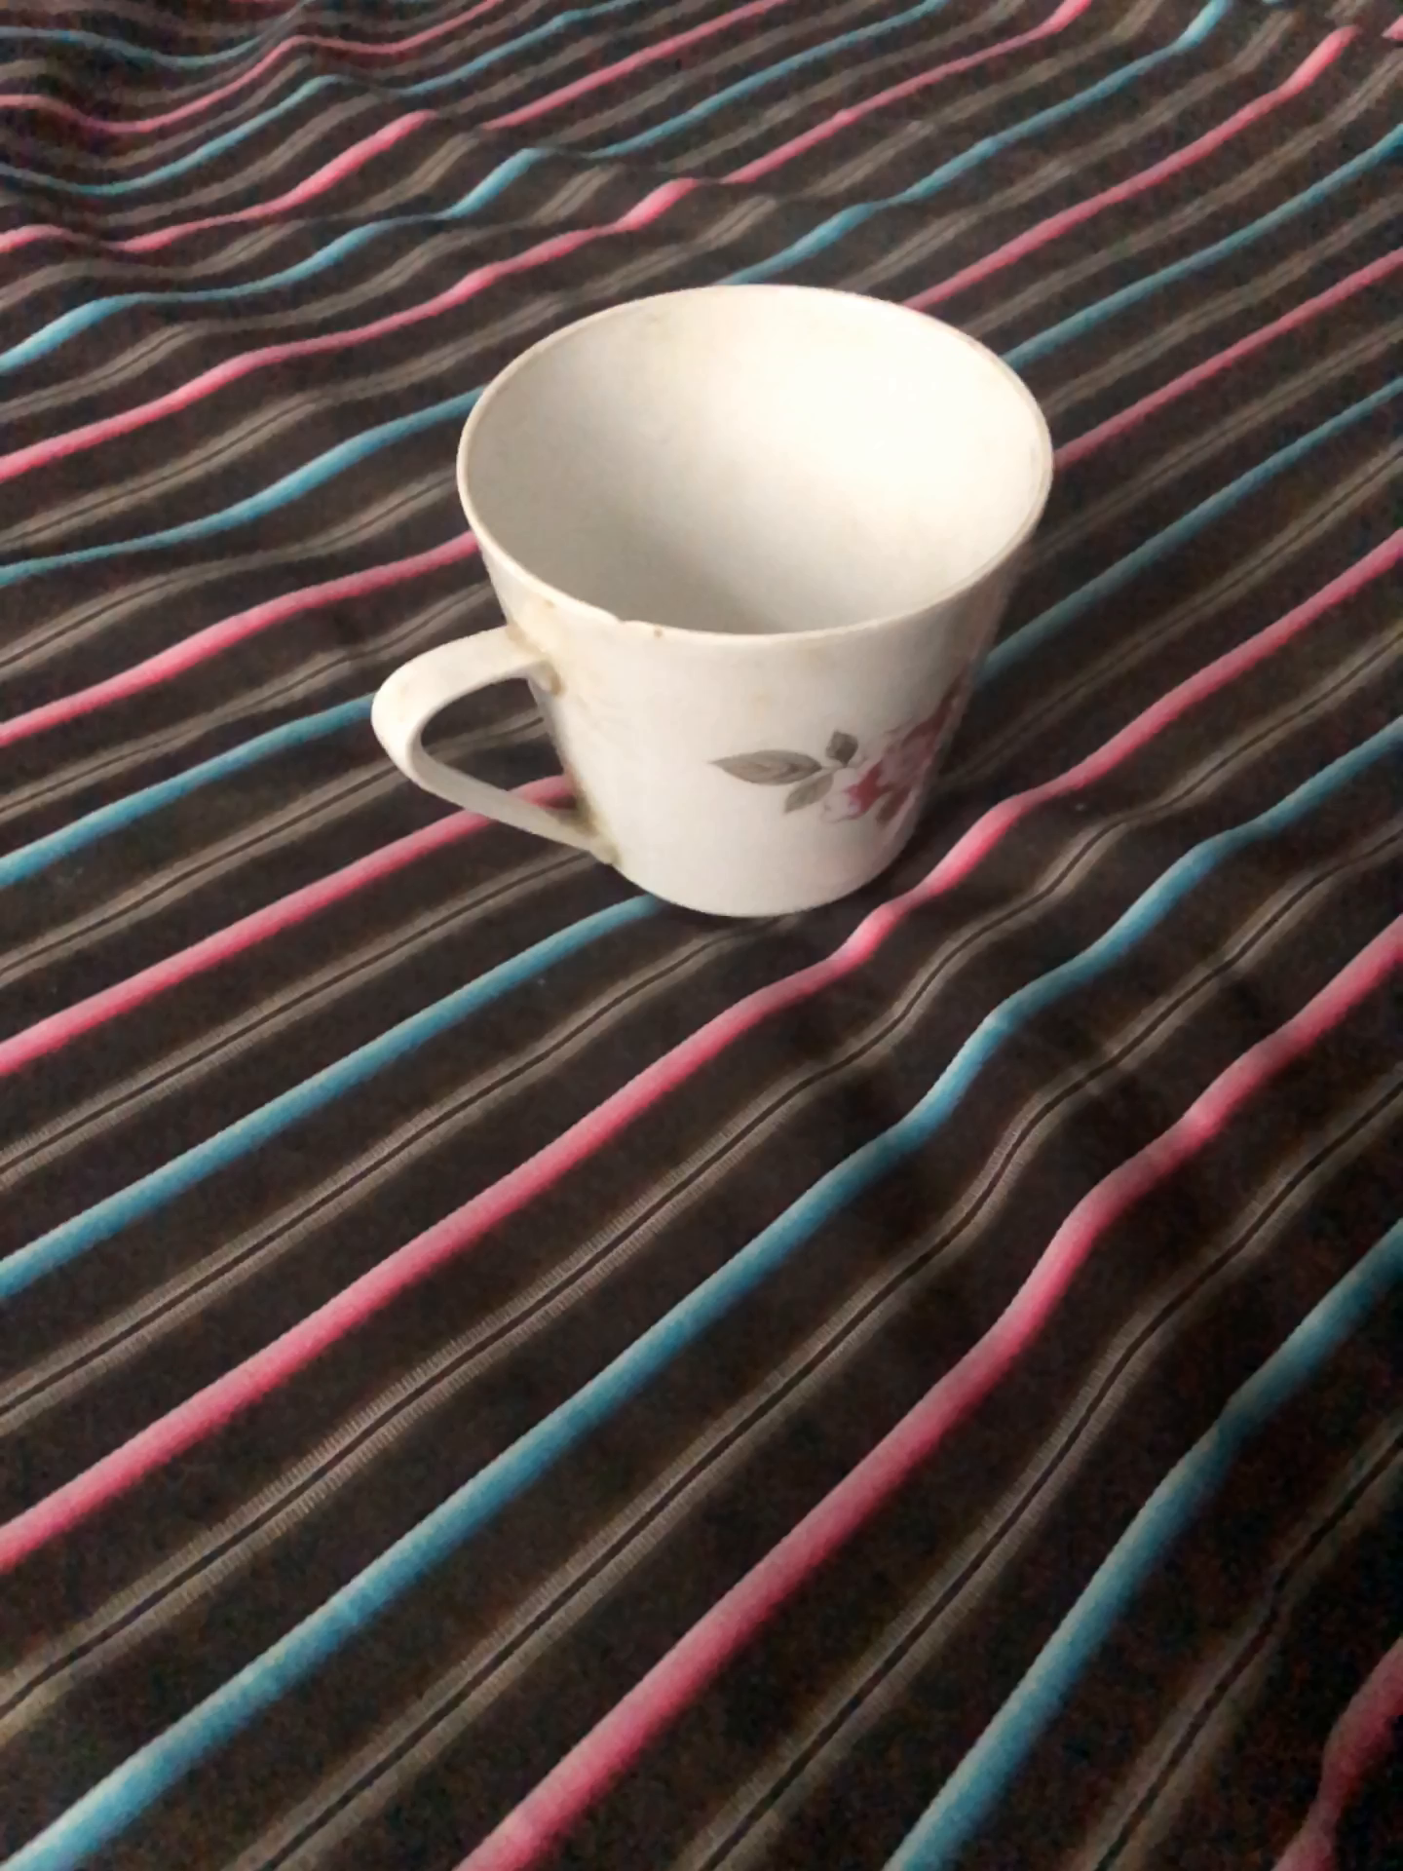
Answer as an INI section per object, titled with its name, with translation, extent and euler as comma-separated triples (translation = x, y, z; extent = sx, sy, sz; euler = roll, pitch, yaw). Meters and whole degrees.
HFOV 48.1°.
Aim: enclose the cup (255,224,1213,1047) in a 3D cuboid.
[cup]
translation = 0.002, -0.044, 0.213
extent = 0.094, 0.049, 0.073
euler = -23, 57, -17
